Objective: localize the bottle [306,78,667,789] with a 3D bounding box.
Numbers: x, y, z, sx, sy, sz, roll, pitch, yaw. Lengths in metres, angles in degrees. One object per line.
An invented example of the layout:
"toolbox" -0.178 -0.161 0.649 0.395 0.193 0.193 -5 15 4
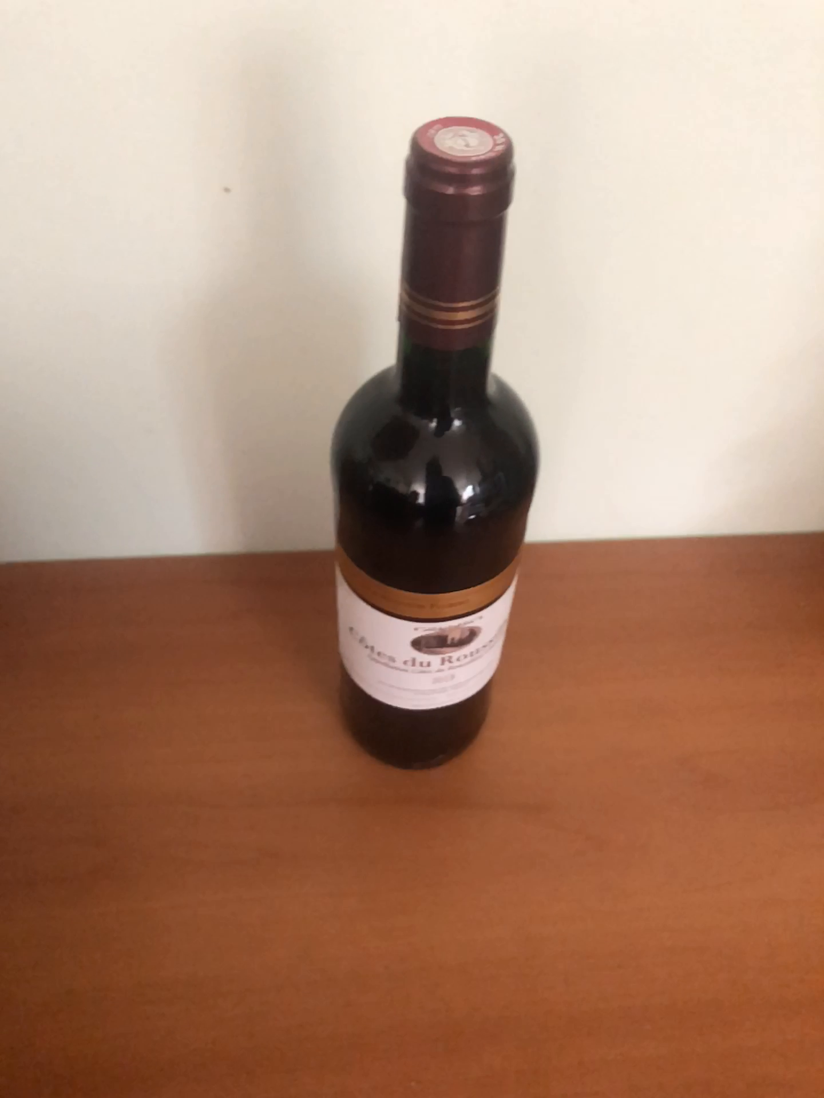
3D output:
"bottle" 0.008 -0.011 0.344 0.080 0.288 0.080 2 52 -2
